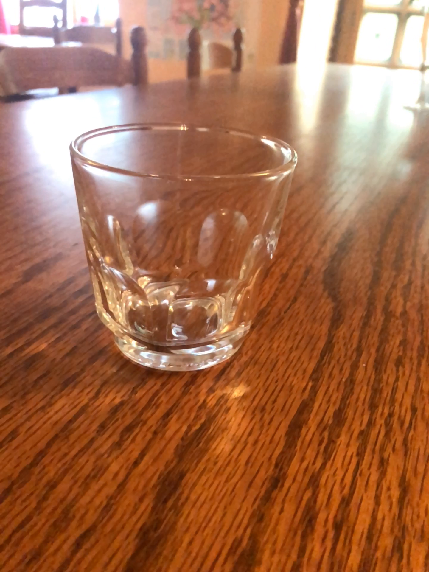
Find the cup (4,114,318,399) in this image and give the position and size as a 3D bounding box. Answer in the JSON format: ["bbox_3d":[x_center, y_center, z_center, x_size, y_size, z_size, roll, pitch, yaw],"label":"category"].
[{"bbox_3d":[-0.013,-0.020,0.185,0.083,0.069,0.083,3,28,-2],"label":"cup"}]
